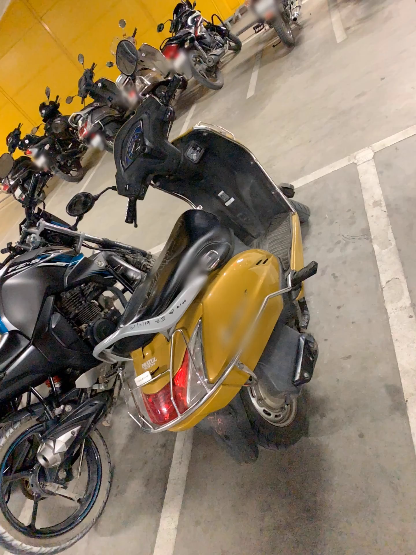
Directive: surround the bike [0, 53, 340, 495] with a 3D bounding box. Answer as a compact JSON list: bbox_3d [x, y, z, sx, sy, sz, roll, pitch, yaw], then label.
[{"bbox_3d":[-0.063,-0.125,1.756,0.570,0.992,1.526,-26,33,24],"label":"bike"}]
